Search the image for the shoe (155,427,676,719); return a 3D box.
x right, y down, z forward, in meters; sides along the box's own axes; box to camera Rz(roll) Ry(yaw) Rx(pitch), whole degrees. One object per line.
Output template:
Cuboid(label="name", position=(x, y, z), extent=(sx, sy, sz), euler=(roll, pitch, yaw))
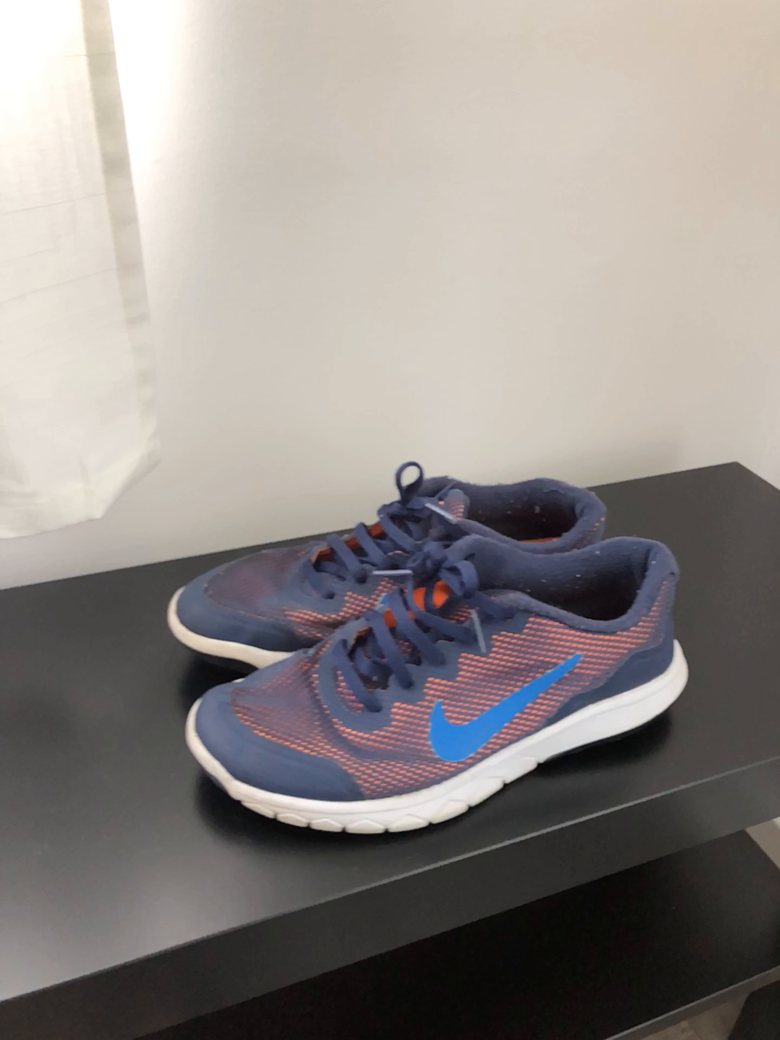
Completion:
Cuboid(label="shoe", position=(0.010, 0.021, 0.484), extent=(0.260, 0.089, 0.100), euler=(-7, 32, -16))

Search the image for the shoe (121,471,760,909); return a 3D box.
Cuboid(label="shoe", position=(0.021, 0.063, 0.410), extent=(0.260, 0.089, 0.121), euler=(-11, 33, -21))
